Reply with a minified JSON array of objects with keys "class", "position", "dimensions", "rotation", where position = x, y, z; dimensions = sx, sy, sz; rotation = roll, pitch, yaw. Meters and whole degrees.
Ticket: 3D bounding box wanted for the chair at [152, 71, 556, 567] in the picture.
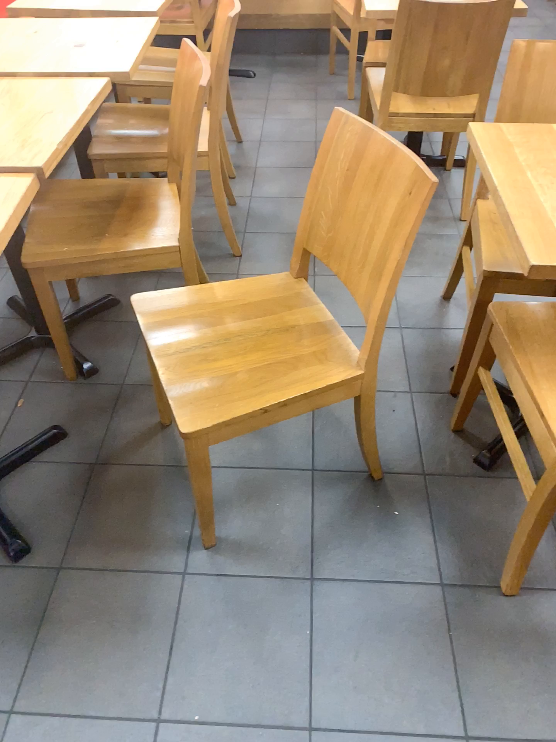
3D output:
[{"class":"chair","position":[0.118,-0.104,1.287],"dimensions":[0.611,0.891,0.514],"rotation":[-14,46,-19]}]
